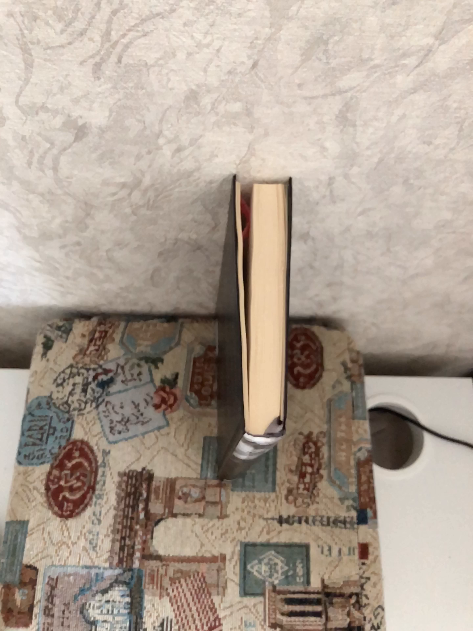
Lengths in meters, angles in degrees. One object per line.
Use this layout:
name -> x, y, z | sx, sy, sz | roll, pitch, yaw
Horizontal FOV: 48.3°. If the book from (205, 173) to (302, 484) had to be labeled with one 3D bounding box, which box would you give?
book -> 0.004, 0.029, 0.335 | 0.035, 0.201, 0.138 | 5, 69, -3
